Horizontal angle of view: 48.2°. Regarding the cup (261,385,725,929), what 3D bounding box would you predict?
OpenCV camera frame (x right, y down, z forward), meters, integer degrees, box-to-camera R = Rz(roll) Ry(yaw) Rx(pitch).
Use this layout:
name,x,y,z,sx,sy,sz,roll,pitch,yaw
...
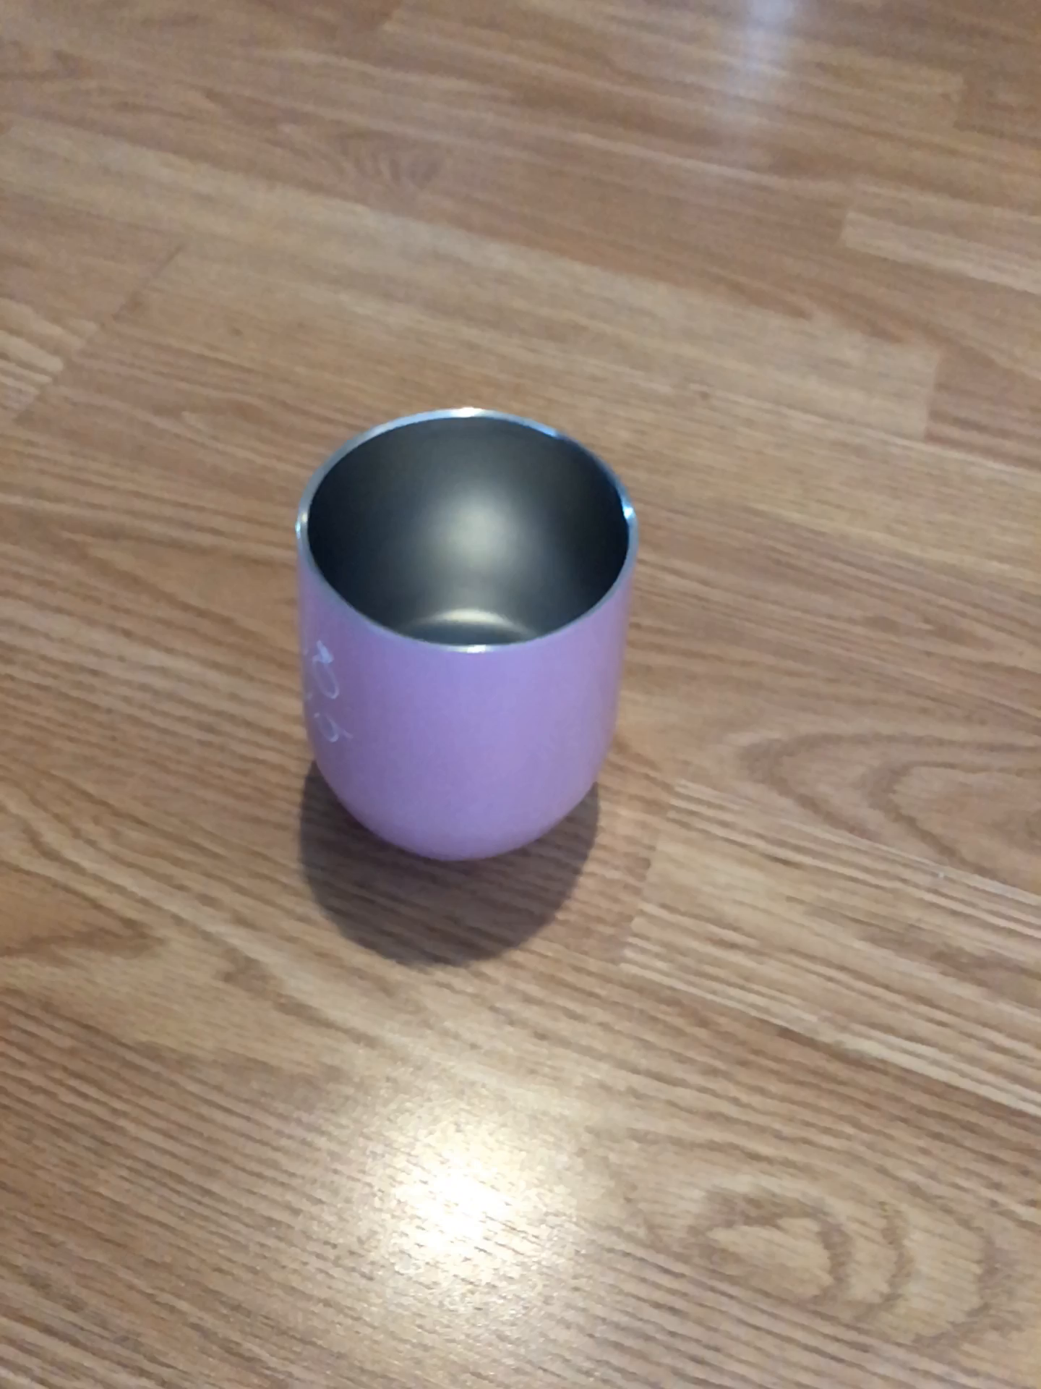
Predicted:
name,x,y,z,sx,sy,sz,roll,pitch,yaw
cup,-0.013,-0.009,0.310,0.090,0.100,0.090,2,53,-3
